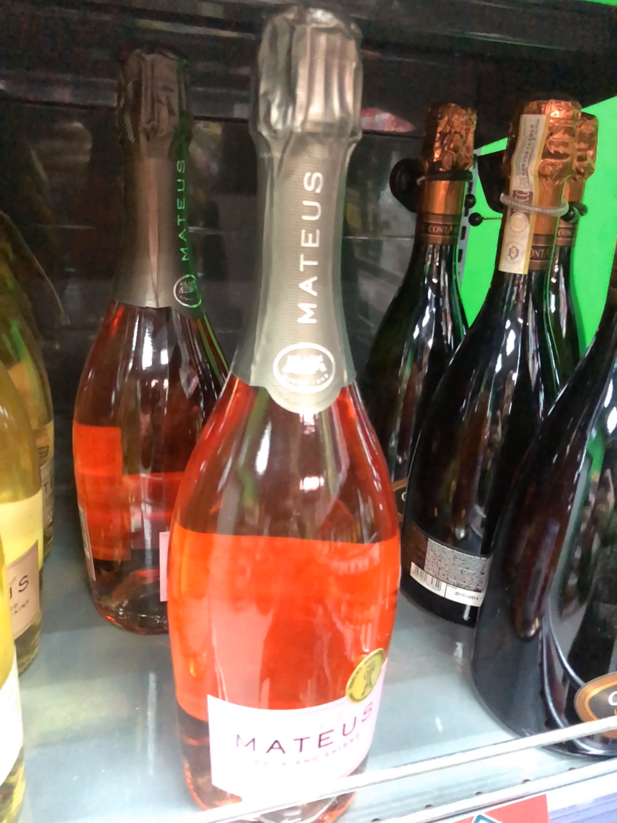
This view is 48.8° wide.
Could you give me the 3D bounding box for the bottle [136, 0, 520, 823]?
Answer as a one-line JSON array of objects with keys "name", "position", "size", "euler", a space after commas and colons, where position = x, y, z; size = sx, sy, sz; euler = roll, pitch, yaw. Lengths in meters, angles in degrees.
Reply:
[{"name": "bottle", "position": [-0.011, 0.018, 0.271], "size": [0.100, 0.319, 0.090], "euler": [-2, 20, -19]}]
